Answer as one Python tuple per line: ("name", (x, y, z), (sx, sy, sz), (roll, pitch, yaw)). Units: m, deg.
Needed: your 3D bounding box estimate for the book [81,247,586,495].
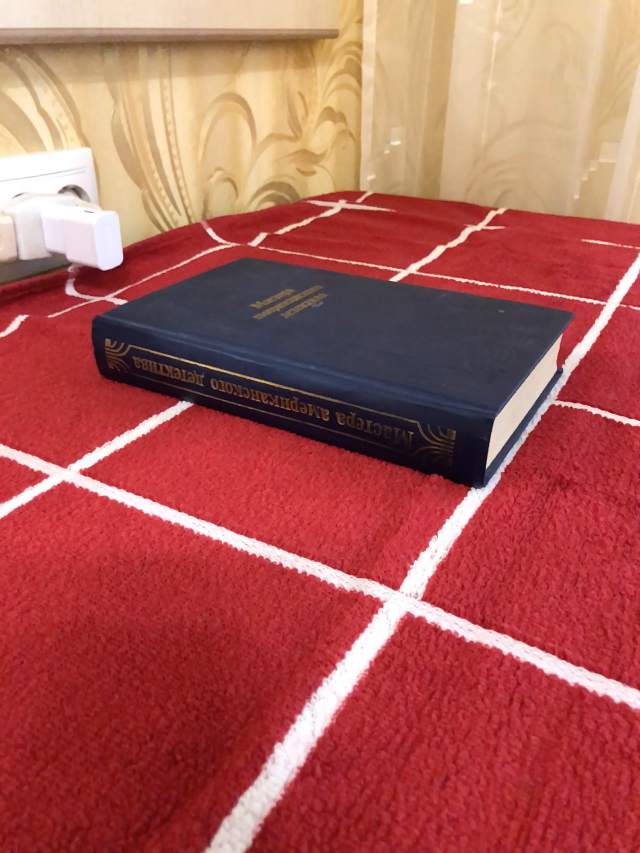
("book", (0.011, -0.042, 0.341), (0.193, 0.030, 0.143), (16, 32, 25))
